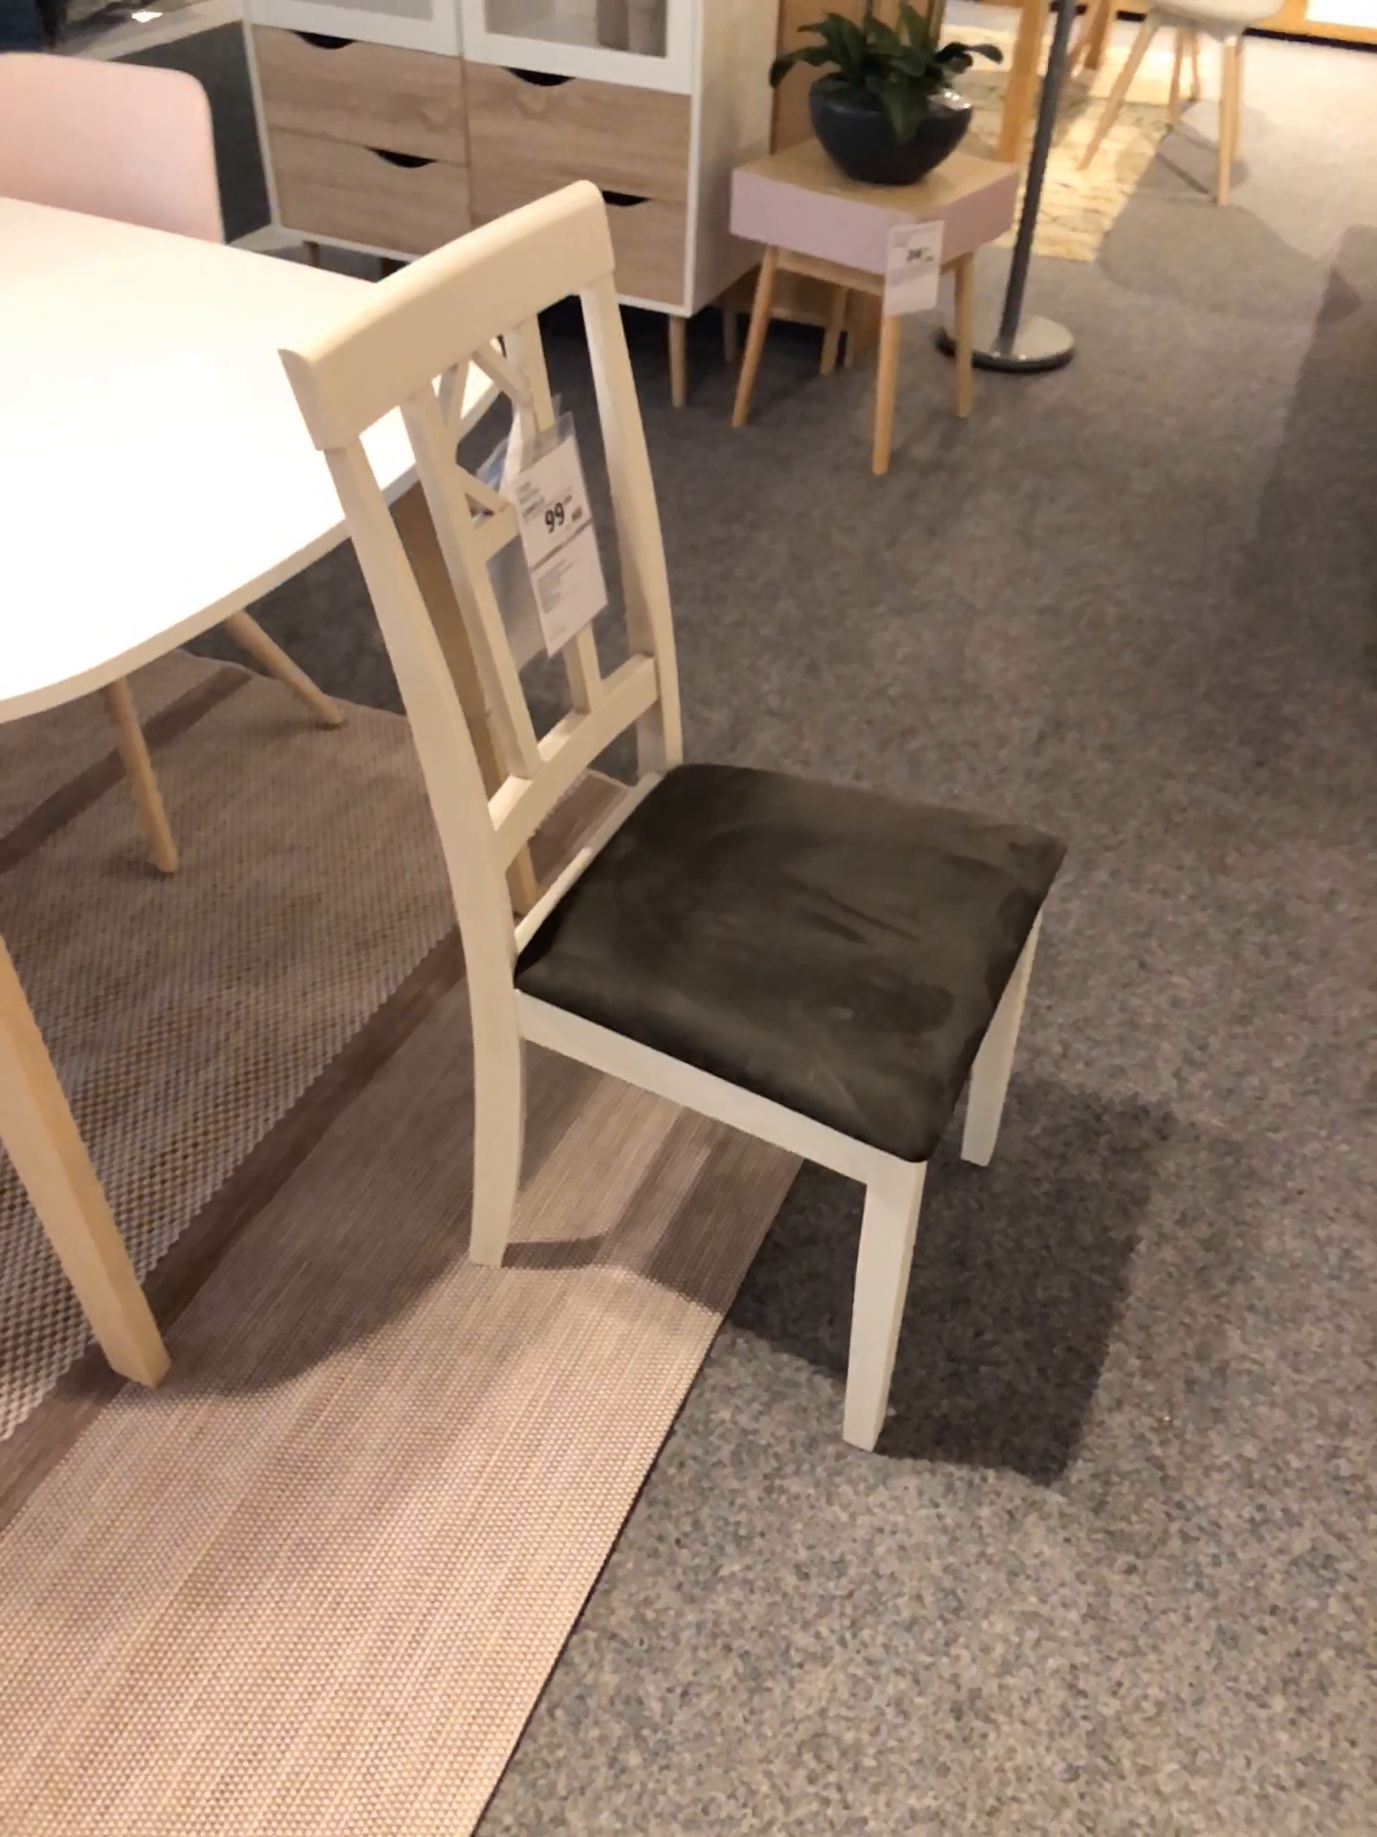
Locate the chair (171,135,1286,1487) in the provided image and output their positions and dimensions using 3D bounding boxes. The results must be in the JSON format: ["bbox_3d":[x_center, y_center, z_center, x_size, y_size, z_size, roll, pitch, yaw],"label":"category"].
[{"bbox_3d":[0.045,-0.080,1.248,0.559,0.855,0.514,18,43,17],"label":"chair"}]
